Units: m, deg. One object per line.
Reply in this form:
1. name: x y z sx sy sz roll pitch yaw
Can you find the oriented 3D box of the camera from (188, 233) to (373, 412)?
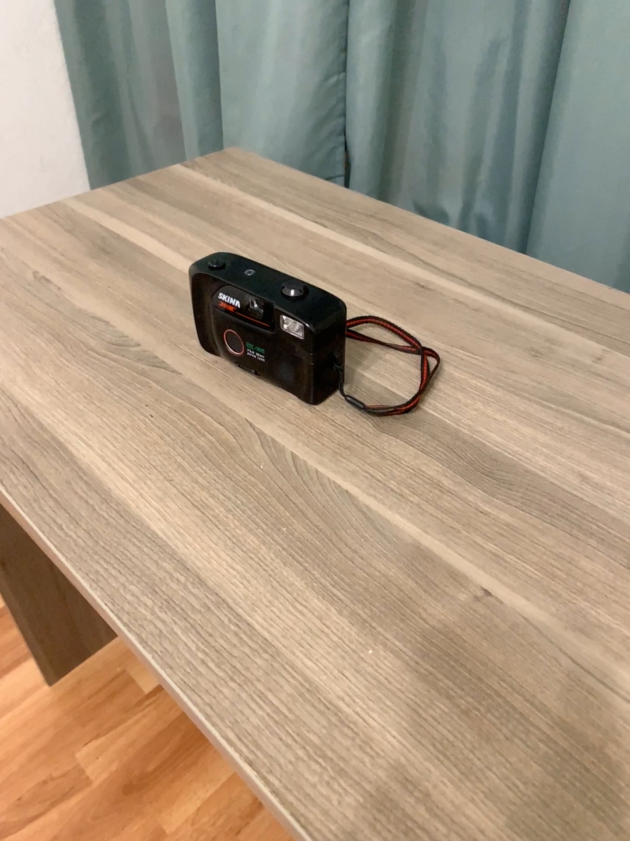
1. camera: -0.026 -0.069 0.440 0.120 0.069 0.045 29 46 28
